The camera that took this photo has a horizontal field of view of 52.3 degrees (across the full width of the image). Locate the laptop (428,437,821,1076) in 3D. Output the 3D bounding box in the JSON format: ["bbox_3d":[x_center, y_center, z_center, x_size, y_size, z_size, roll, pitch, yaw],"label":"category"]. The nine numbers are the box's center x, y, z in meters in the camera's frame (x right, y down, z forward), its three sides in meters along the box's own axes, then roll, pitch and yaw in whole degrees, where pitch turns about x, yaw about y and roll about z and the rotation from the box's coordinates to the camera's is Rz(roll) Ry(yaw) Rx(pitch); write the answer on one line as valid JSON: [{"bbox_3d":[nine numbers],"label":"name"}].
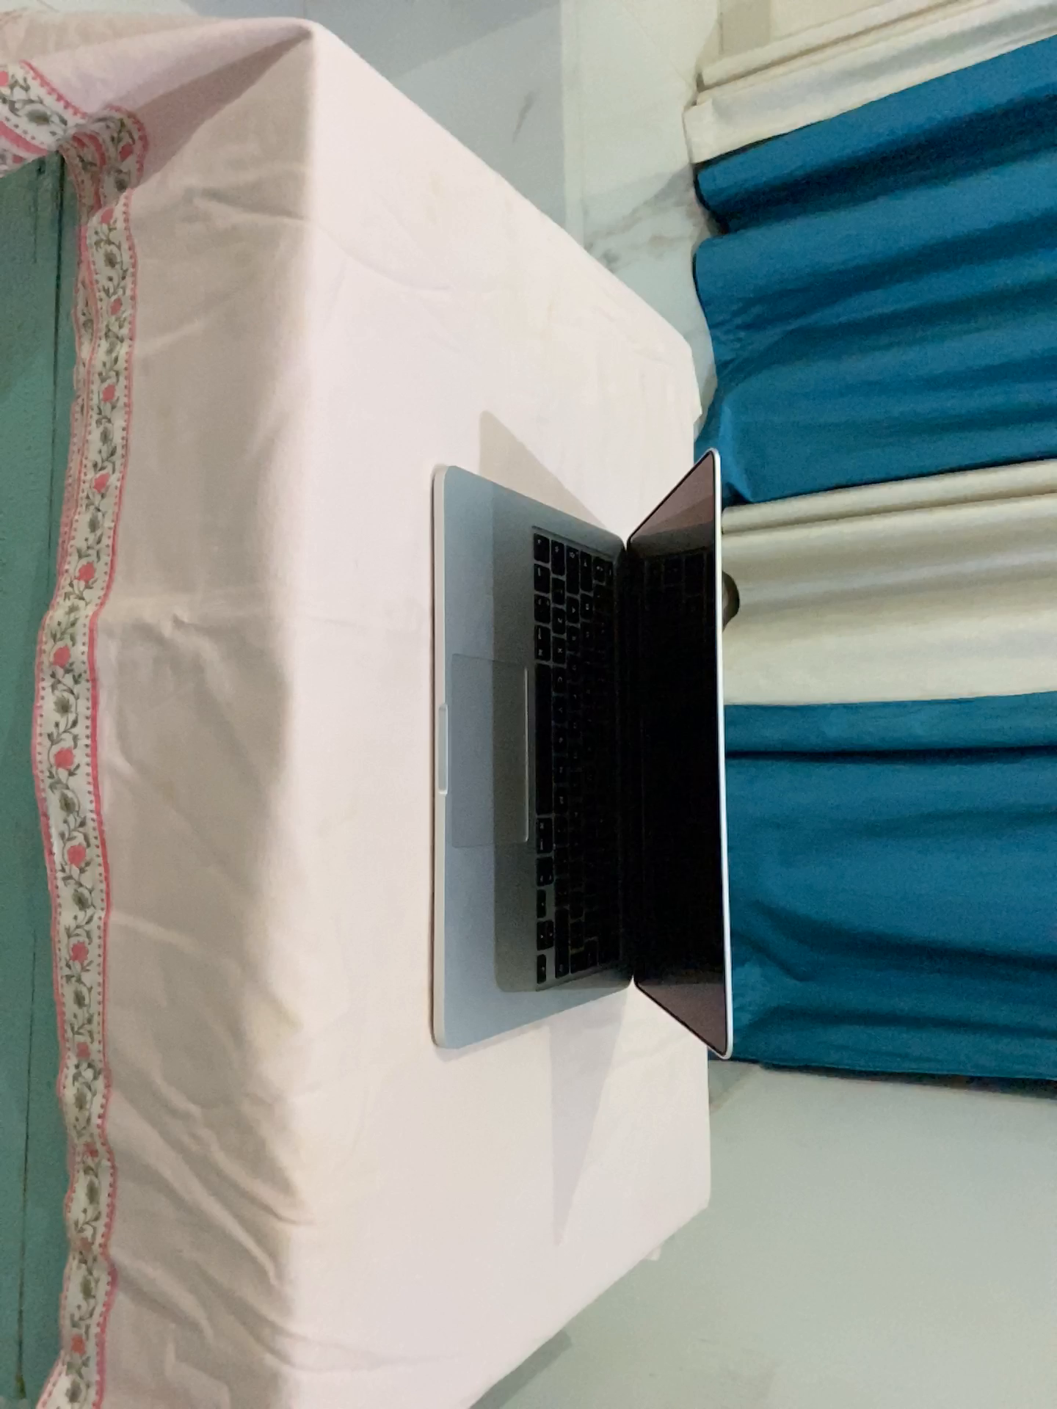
[{"bbox_3d":[0.065,0.031,0.622,0.209,0.138,0.296,6,83,-57],"label":"laptop"}]
